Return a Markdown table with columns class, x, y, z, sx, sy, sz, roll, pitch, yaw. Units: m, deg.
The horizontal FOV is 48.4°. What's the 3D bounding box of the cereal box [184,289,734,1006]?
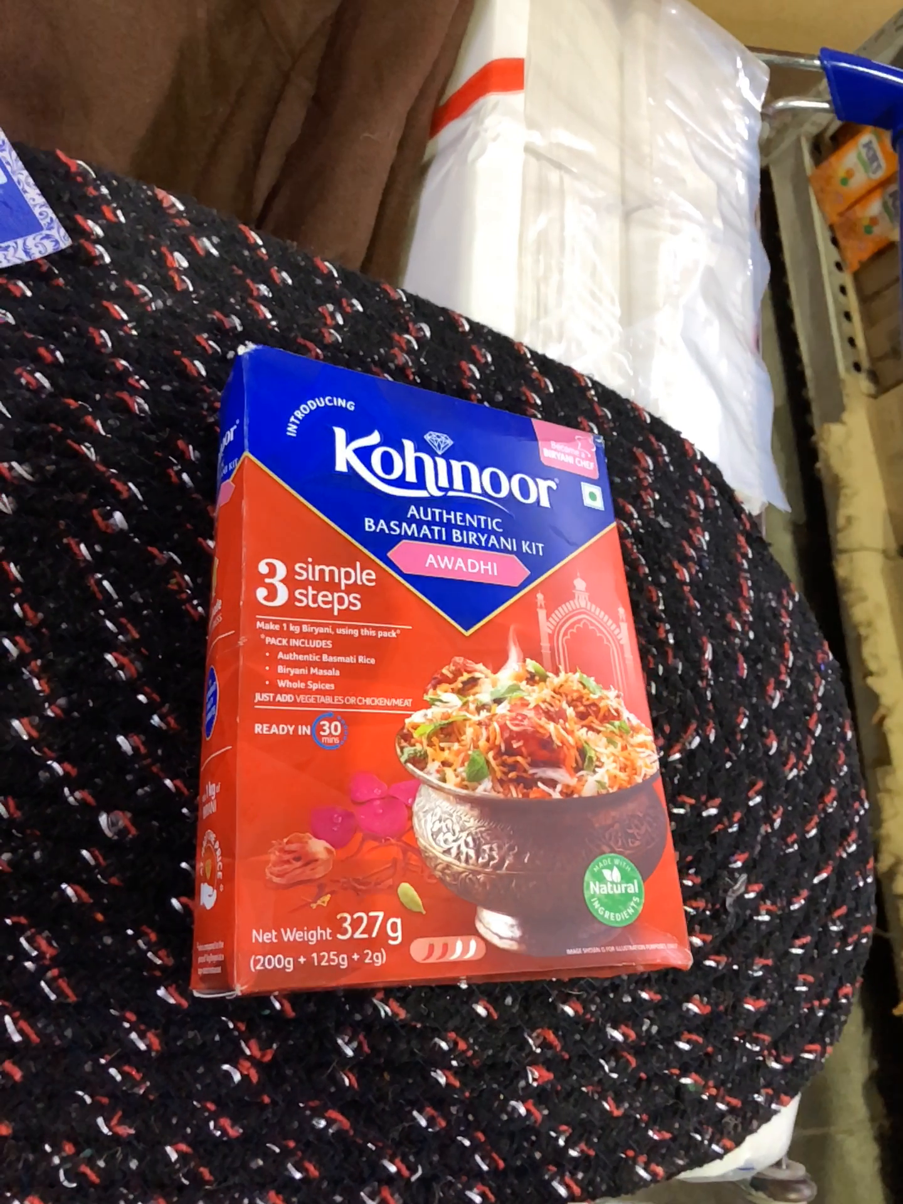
| class | x | y | z | sx | sy | sz | roll | pitch | yaw |
| --- | --- | --- | --- | --- | --- | --- | --- | --- | --- |
| cereal box | 0.002 | 0.014 | 0.290 | 0.140 | 0.040 | 0.180 | 7 | 69 | -26 |
